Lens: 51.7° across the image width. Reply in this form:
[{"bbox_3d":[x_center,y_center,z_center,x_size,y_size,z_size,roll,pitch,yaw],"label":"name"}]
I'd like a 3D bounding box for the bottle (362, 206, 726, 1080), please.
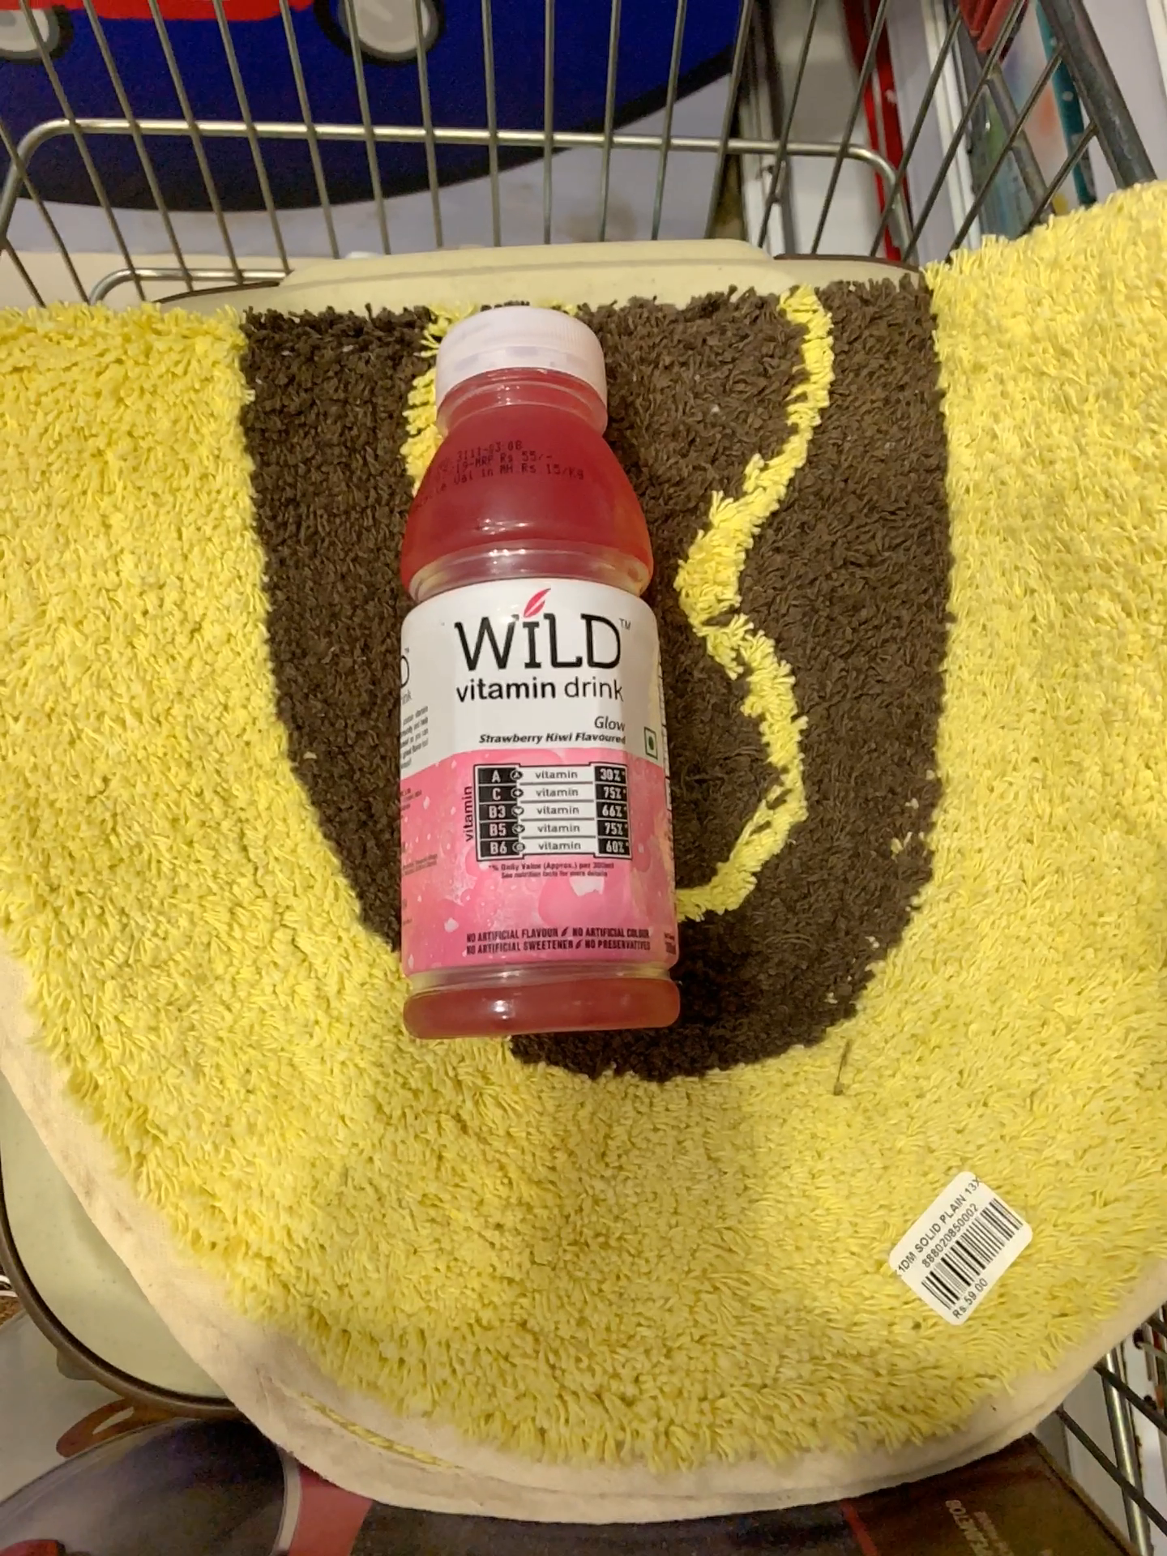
[{"bbox_3d":[-0.009,-0.025,0.245,0.060,0.050,0.160,-2,85,-1],"label":"bottle"}]
